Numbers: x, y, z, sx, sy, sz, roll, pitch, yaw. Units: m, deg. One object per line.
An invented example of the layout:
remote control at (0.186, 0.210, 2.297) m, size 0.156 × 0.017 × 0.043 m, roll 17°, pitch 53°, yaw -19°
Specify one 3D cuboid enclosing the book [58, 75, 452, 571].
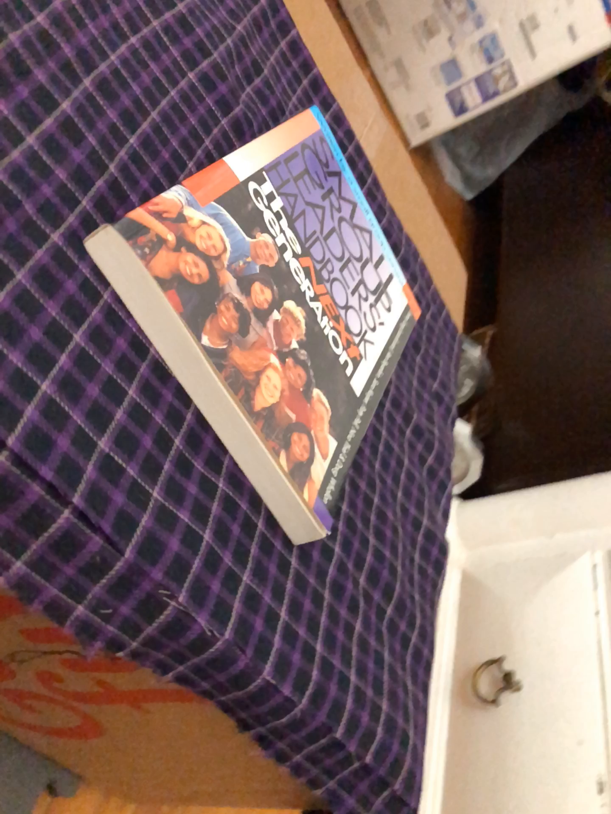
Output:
book at (0.007, -0.059, 0.317) m, size 0.150 × 0.030 × 0.221 m, roll 59°, pitch 33°, yaw -20°
